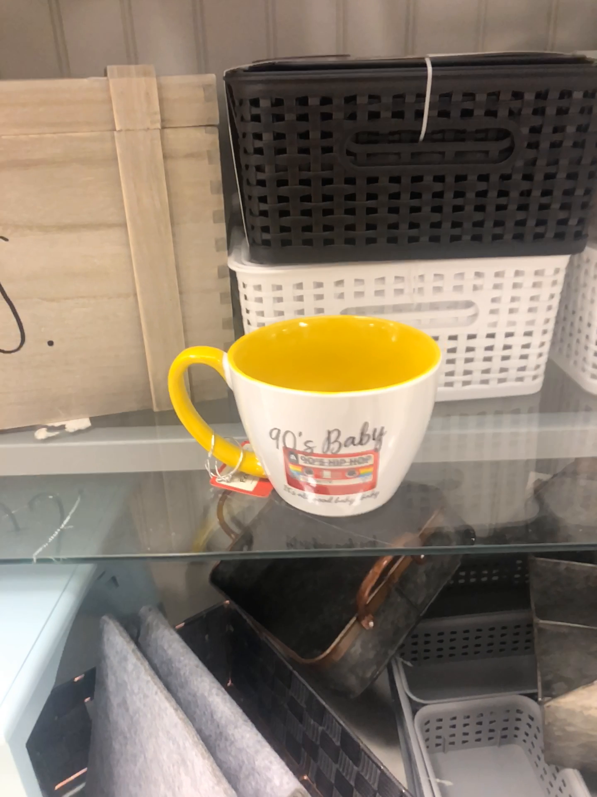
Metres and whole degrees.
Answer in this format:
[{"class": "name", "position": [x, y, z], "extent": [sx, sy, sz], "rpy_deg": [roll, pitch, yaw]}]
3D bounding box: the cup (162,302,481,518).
[{"class": "cup", "position": [0.012, 0.001, 0.398], "extent": [0.156, 0.076, 0.127], "rpy_deg": [0, 28, 1]}]
